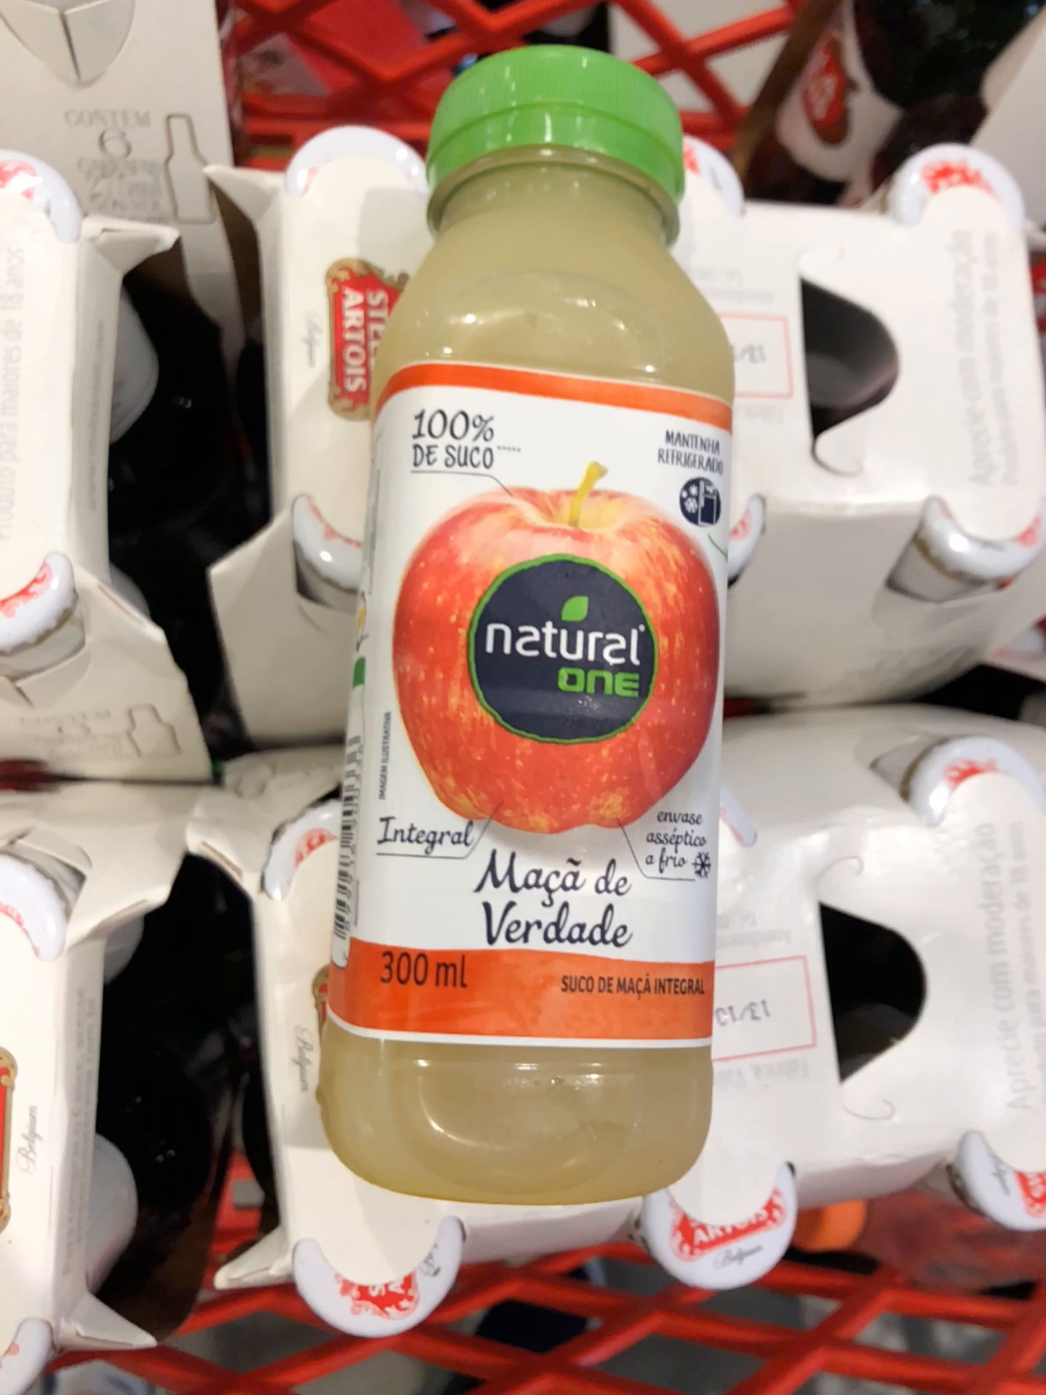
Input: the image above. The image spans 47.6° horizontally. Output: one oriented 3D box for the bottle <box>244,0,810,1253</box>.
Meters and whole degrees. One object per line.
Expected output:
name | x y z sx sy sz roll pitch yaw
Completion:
bottle | 0.001 -0.026 0.168 0.060 0.060 0.180 3 81 -6
